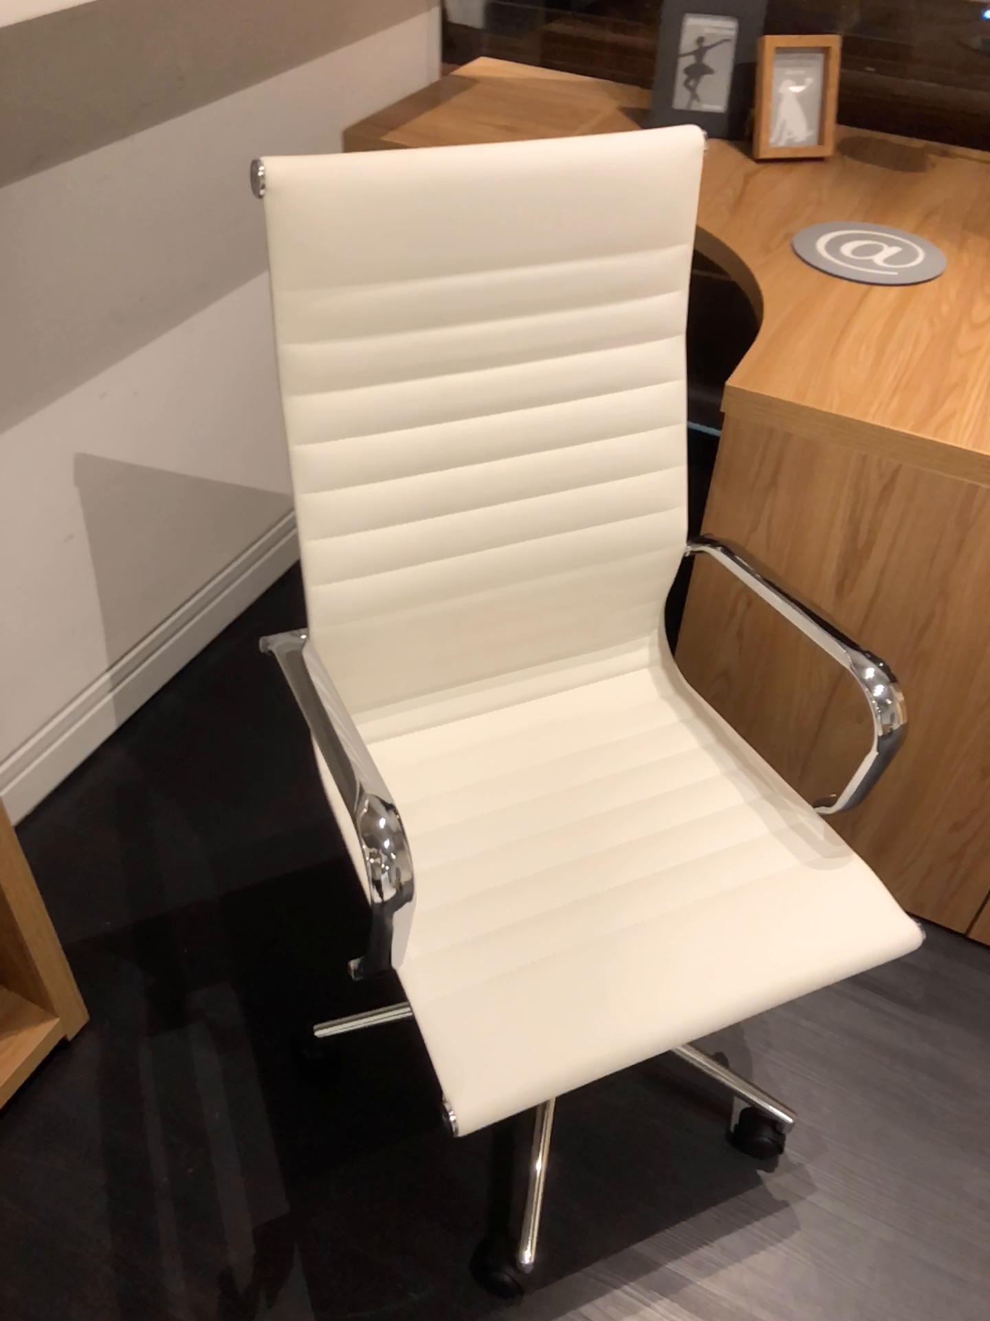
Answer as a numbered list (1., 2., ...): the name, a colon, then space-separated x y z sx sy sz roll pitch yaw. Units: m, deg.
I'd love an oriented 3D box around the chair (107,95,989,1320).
1. chair: 0.071 0.077 1.138 0.631 1.013 0.633 -15 46 -18
